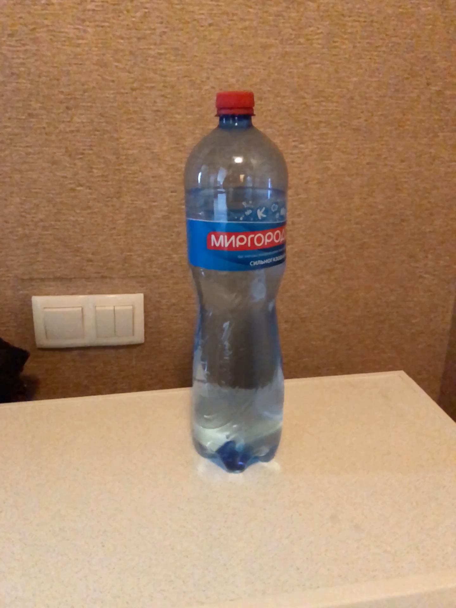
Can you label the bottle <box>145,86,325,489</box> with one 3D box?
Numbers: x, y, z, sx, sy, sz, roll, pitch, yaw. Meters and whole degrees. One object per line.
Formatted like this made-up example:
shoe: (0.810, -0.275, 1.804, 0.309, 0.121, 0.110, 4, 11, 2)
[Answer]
bottle: (0.004, -0.016, 0.444, 0.100, 0.318, 0.100, 0, 19, 0)
